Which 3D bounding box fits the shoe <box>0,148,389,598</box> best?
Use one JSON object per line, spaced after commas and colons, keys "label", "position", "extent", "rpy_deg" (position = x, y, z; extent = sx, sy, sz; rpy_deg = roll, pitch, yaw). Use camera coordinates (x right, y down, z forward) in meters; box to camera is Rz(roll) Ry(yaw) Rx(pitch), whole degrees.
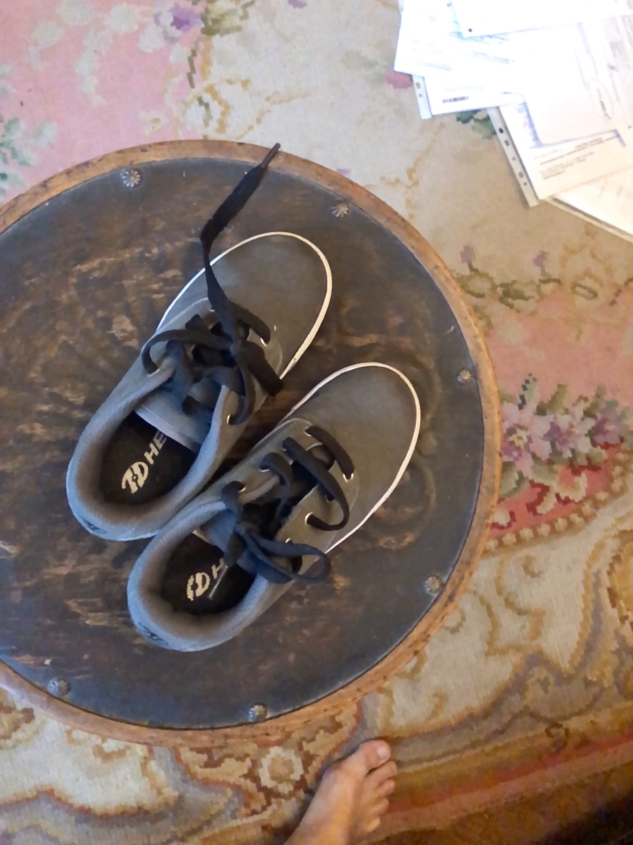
{"label": "shoe", "position": [-0.065, -0.025, 0.395], "extent": [0.090, 0.100, 0.211], "rpy_deg": [35, 84, -4]}

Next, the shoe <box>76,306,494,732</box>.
{"label": "shoe", "position": [-0.017, 0.048, 0.403], "extent": [0.090, 0.100, 0.211], "rpy_deg": [45, 84, -3]}
